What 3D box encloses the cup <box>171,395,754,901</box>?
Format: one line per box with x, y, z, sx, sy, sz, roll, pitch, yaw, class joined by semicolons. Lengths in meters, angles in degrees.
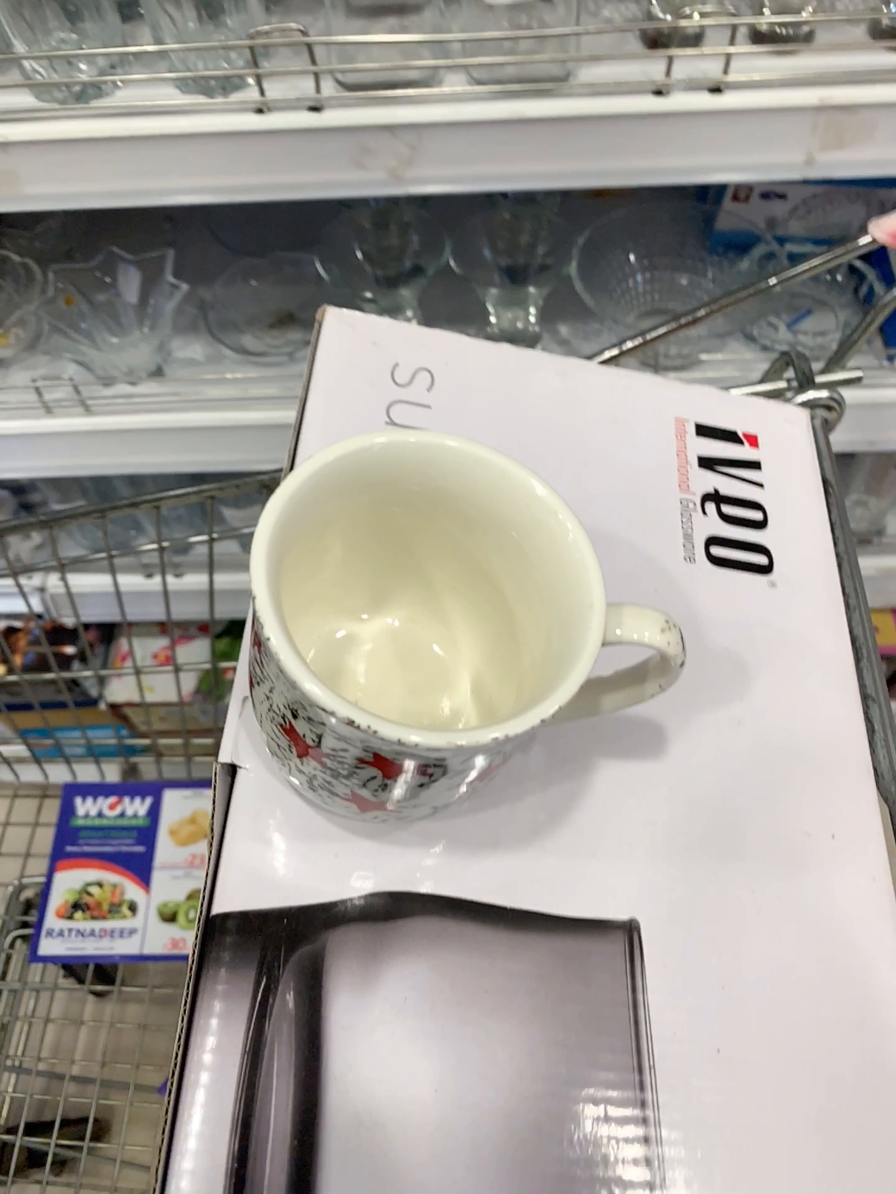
0.000;0.018;0.205;0.100;0.070;0.070;13;59;-14;cup
